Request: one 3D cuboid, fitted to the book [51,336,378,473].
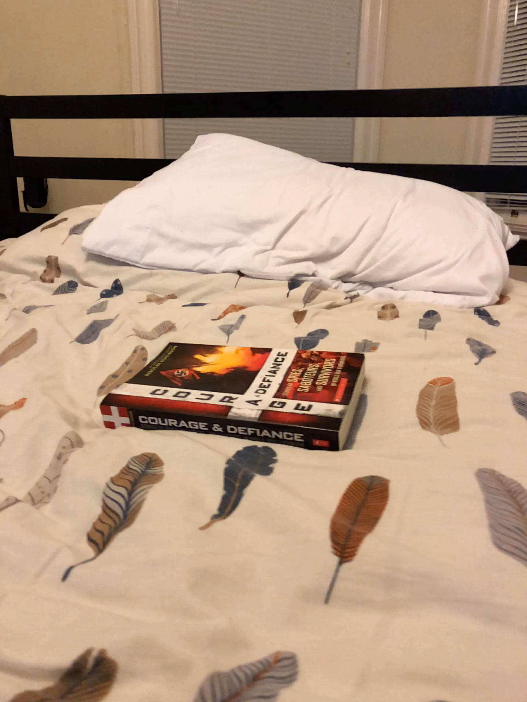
[{"bbox_3d":[-0.024,0.033,0.506,0.230,0.020,0.201,5,18,13],"label":"book"}]
